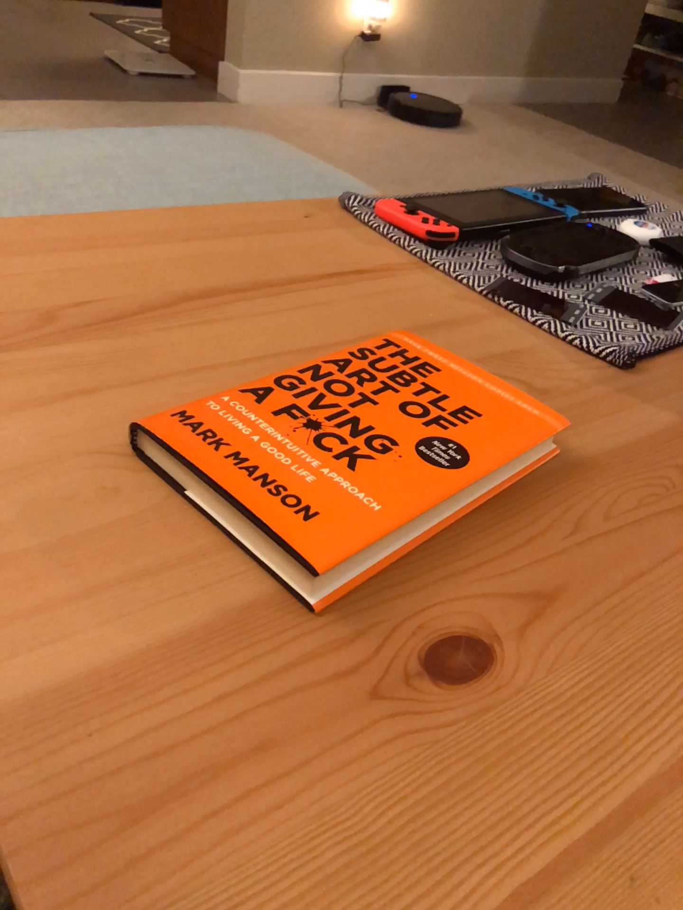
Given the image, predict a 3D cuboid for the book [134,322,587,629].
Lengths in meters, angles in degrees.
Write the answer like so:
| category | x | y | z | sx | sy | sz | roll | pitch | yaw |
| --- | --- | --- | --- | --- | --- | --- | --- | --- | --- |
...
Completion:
| category | x | y | z | sx | sy | sz | roll | pitch | yaw |
| --- | --- | --- | --- | --- | --- | --- | --- | --- | --- |
| book | 0.017 | -0.009 | 0.452 | 0.221 | 0.030 | 0.160 | -26 | 48 | -37 |
